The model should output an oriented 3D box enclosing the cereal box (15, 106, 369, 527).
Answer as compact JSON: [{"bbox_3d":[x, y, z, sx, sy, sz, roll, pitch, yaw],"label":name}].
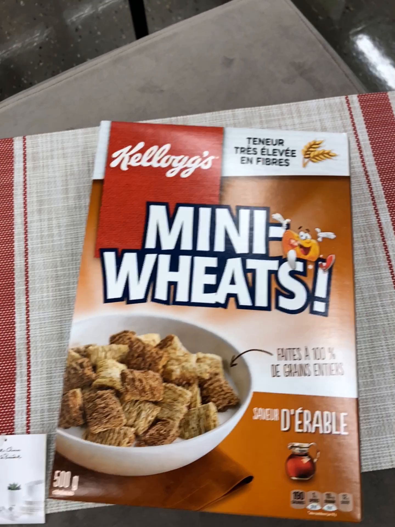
[{"bbox_3d":[0.006,0.028,0.327,0.210,0.060,0.280,3,75,3],"label":"cereal box"}]
